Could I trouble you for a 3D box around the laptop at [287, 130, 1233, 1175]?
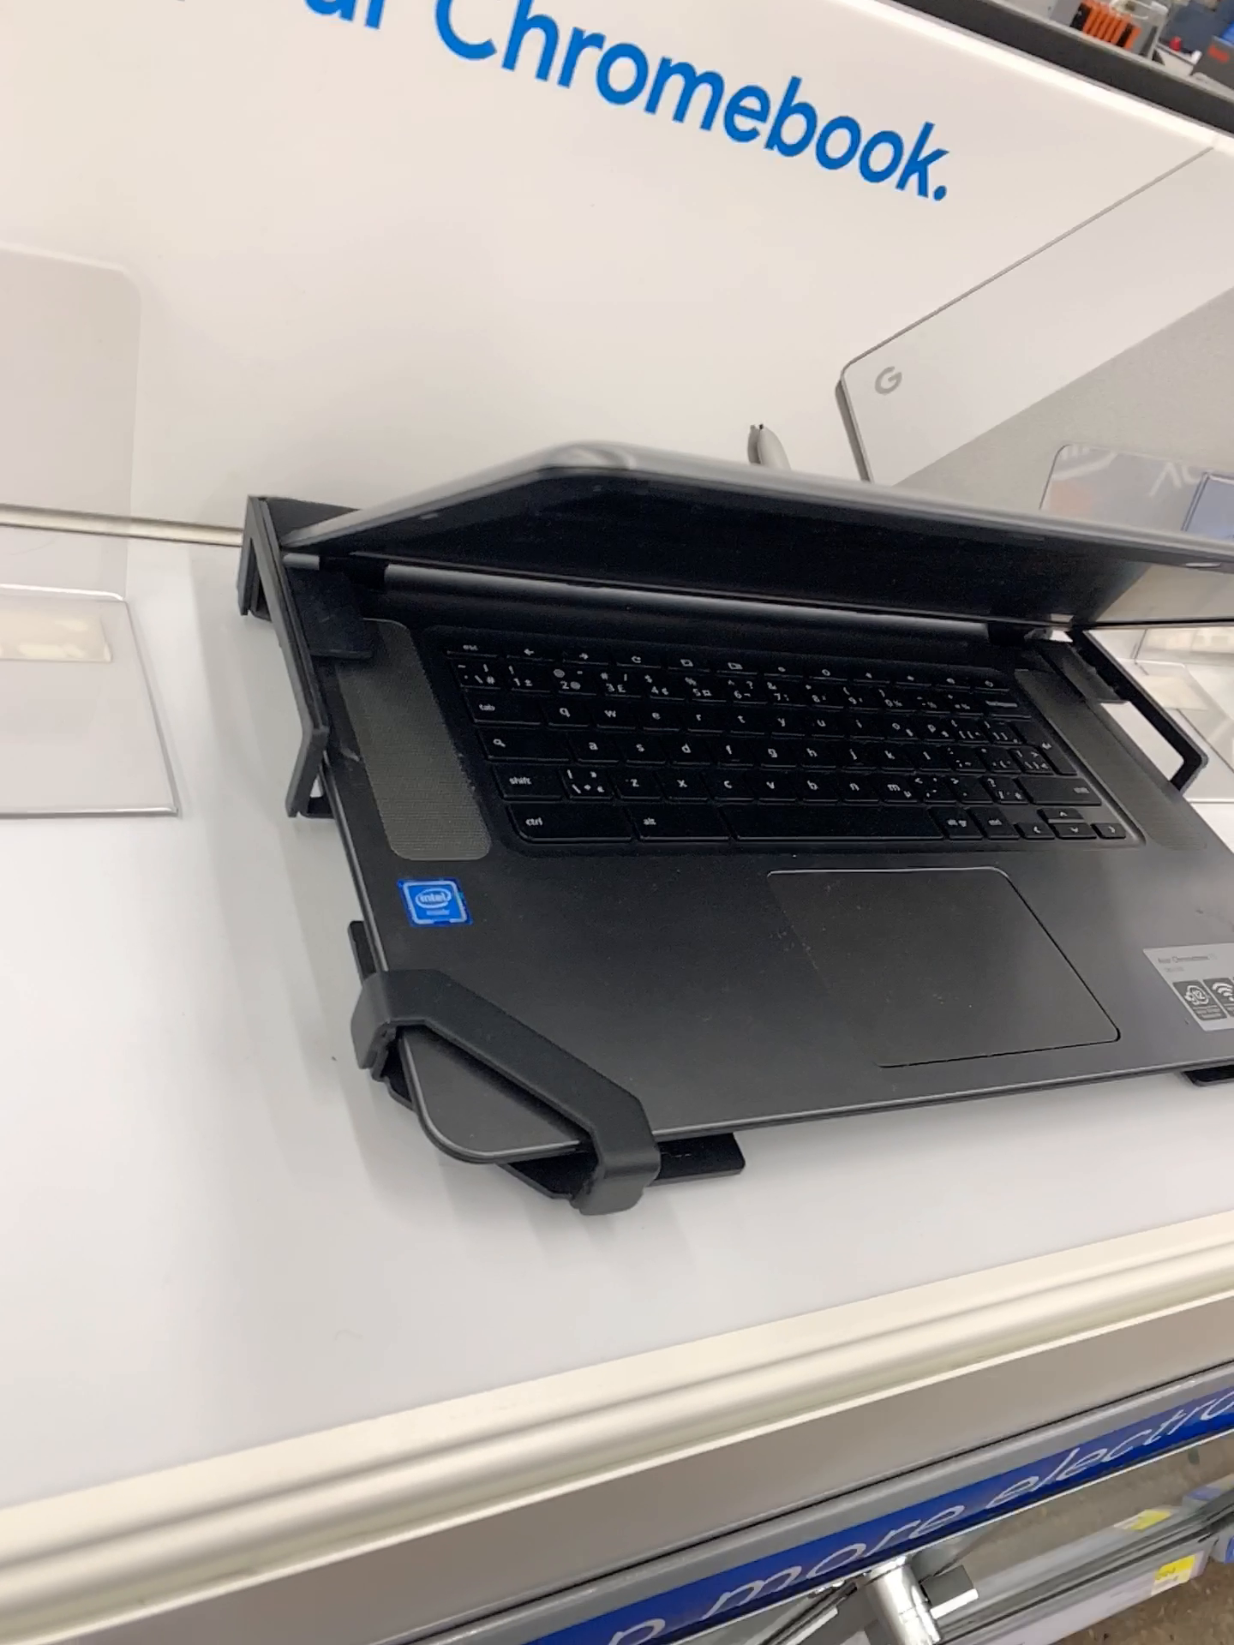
[{"bbox_3d":[0.092,-0.046,0.332,0.303,0.119,0.197,0,44,-28],"label":"laptop"}]
